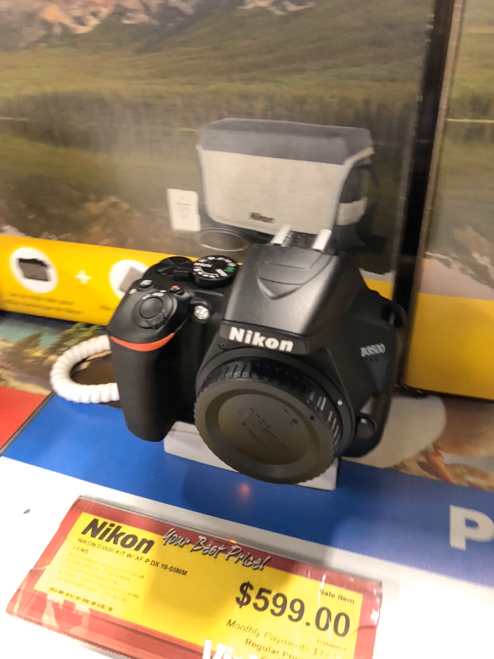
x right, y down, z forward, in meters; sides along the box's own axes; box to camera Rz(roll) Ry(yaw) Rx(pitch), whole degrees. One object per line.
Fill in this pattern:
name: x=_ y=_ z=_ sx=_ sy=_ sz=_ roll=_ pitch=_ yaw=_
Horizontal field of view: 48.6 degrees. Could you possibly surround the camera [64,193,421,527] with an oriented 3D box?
camera: x=0.004 y=0.007 z=0.243 sx=0.120 sy=0.099 sz=0.080 roll=10 pitch=37 yaw=18
